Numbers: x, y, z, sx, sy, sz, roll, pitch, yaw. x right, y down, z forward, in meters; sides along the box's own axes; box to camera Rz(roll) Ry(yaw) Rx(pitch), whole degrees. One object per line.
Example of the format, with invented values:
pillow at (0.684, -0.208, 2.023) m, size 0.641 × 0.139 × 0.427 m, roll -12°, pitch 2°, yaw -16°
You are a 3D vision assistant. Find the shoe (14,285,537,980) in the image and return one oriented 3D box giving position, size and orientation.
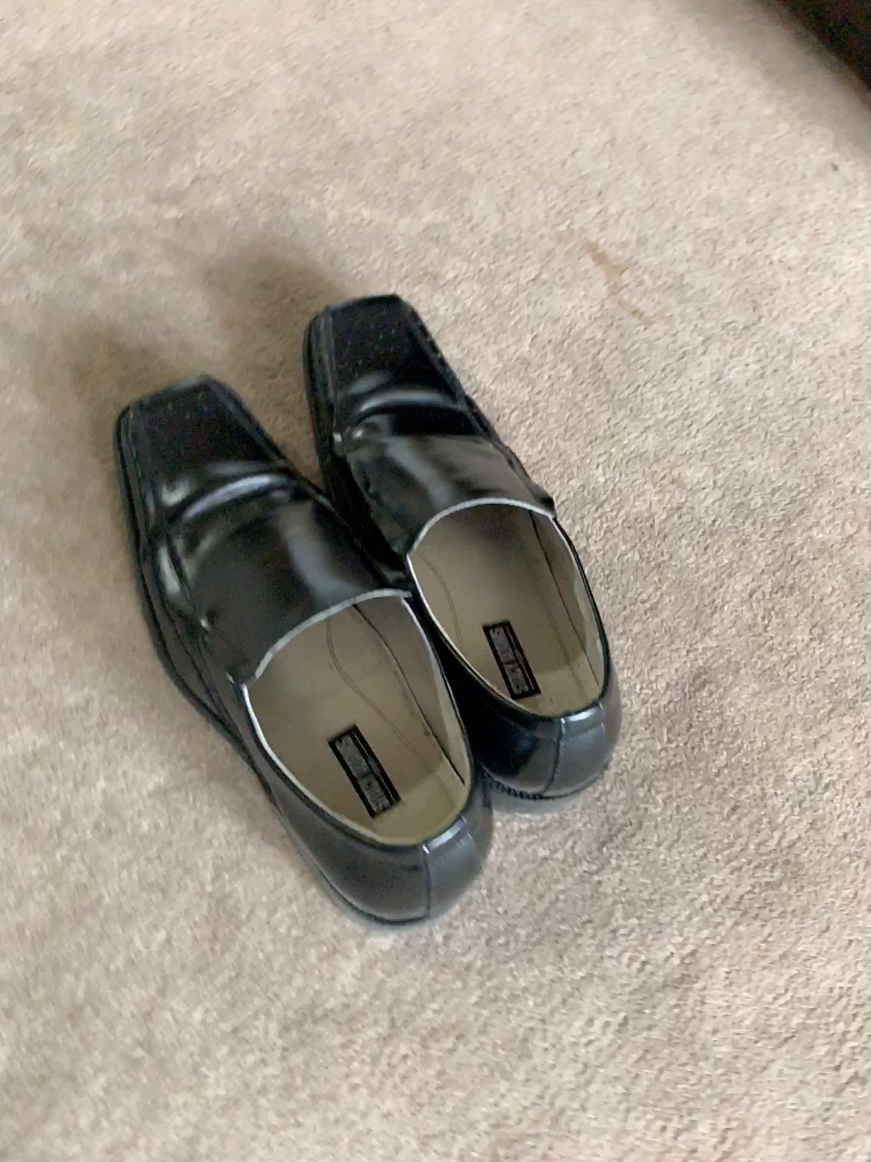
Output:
shoe at (-0.088, 0.020, 0.453) m, size 0.110 × 0.119 × 0.311 m, roll -24°, pitch 70°, yaw -17°

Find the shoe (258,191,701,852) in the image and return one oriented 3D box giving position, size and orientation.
shoe at (0.003, -0.039, 0.484) m, size 0.110 × 0.119 × 0.321 m, roll -15°, pitch 67°, yaw -14°
